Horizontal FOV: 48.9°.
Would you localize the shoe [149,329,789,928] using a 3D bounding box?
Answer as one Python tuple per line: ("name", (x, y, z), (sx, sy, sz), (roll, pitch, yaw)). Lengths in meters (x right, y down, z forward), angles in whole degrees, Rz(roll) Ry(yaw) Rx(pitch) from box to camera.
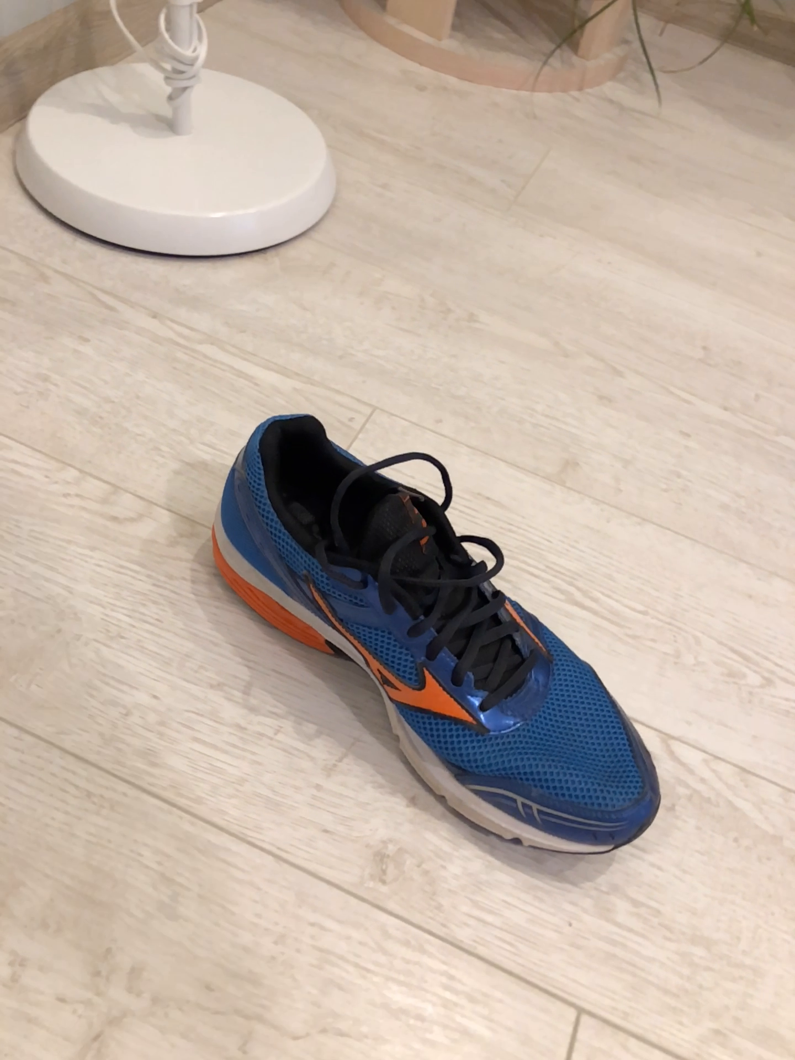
("shoe", (0.020, 0.040, 0.459), (0.300, 0.119, 0.117), (36, 52, 18))
